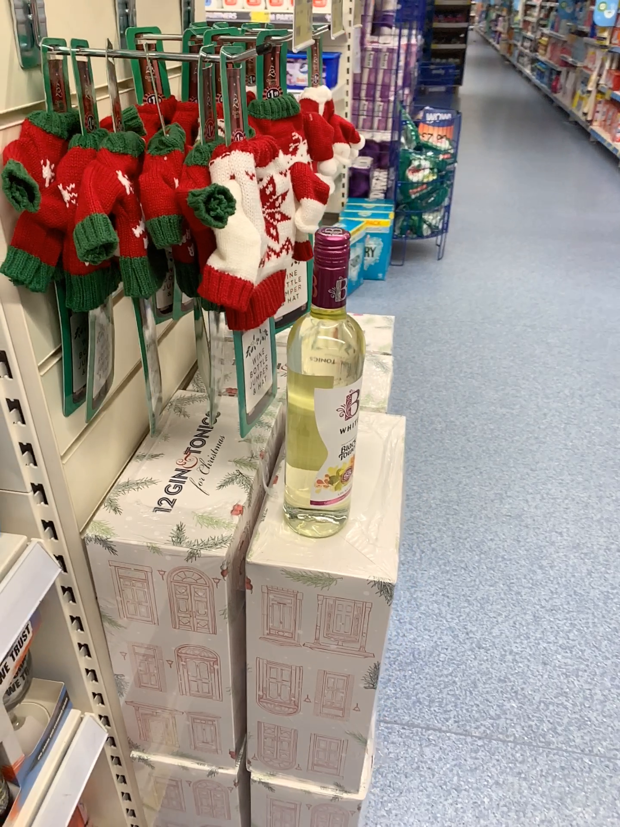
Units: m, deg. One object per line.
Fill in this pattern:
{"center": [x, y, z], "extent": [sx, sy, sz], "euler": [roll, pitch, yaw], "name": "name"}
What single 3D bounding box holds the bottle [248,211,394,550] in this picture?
{"center": [0.009, -0.022, 0.575], "extent": [0.080, 0.288, 0.081], "euler": [0, 33, 0], "name": "bottle"}
